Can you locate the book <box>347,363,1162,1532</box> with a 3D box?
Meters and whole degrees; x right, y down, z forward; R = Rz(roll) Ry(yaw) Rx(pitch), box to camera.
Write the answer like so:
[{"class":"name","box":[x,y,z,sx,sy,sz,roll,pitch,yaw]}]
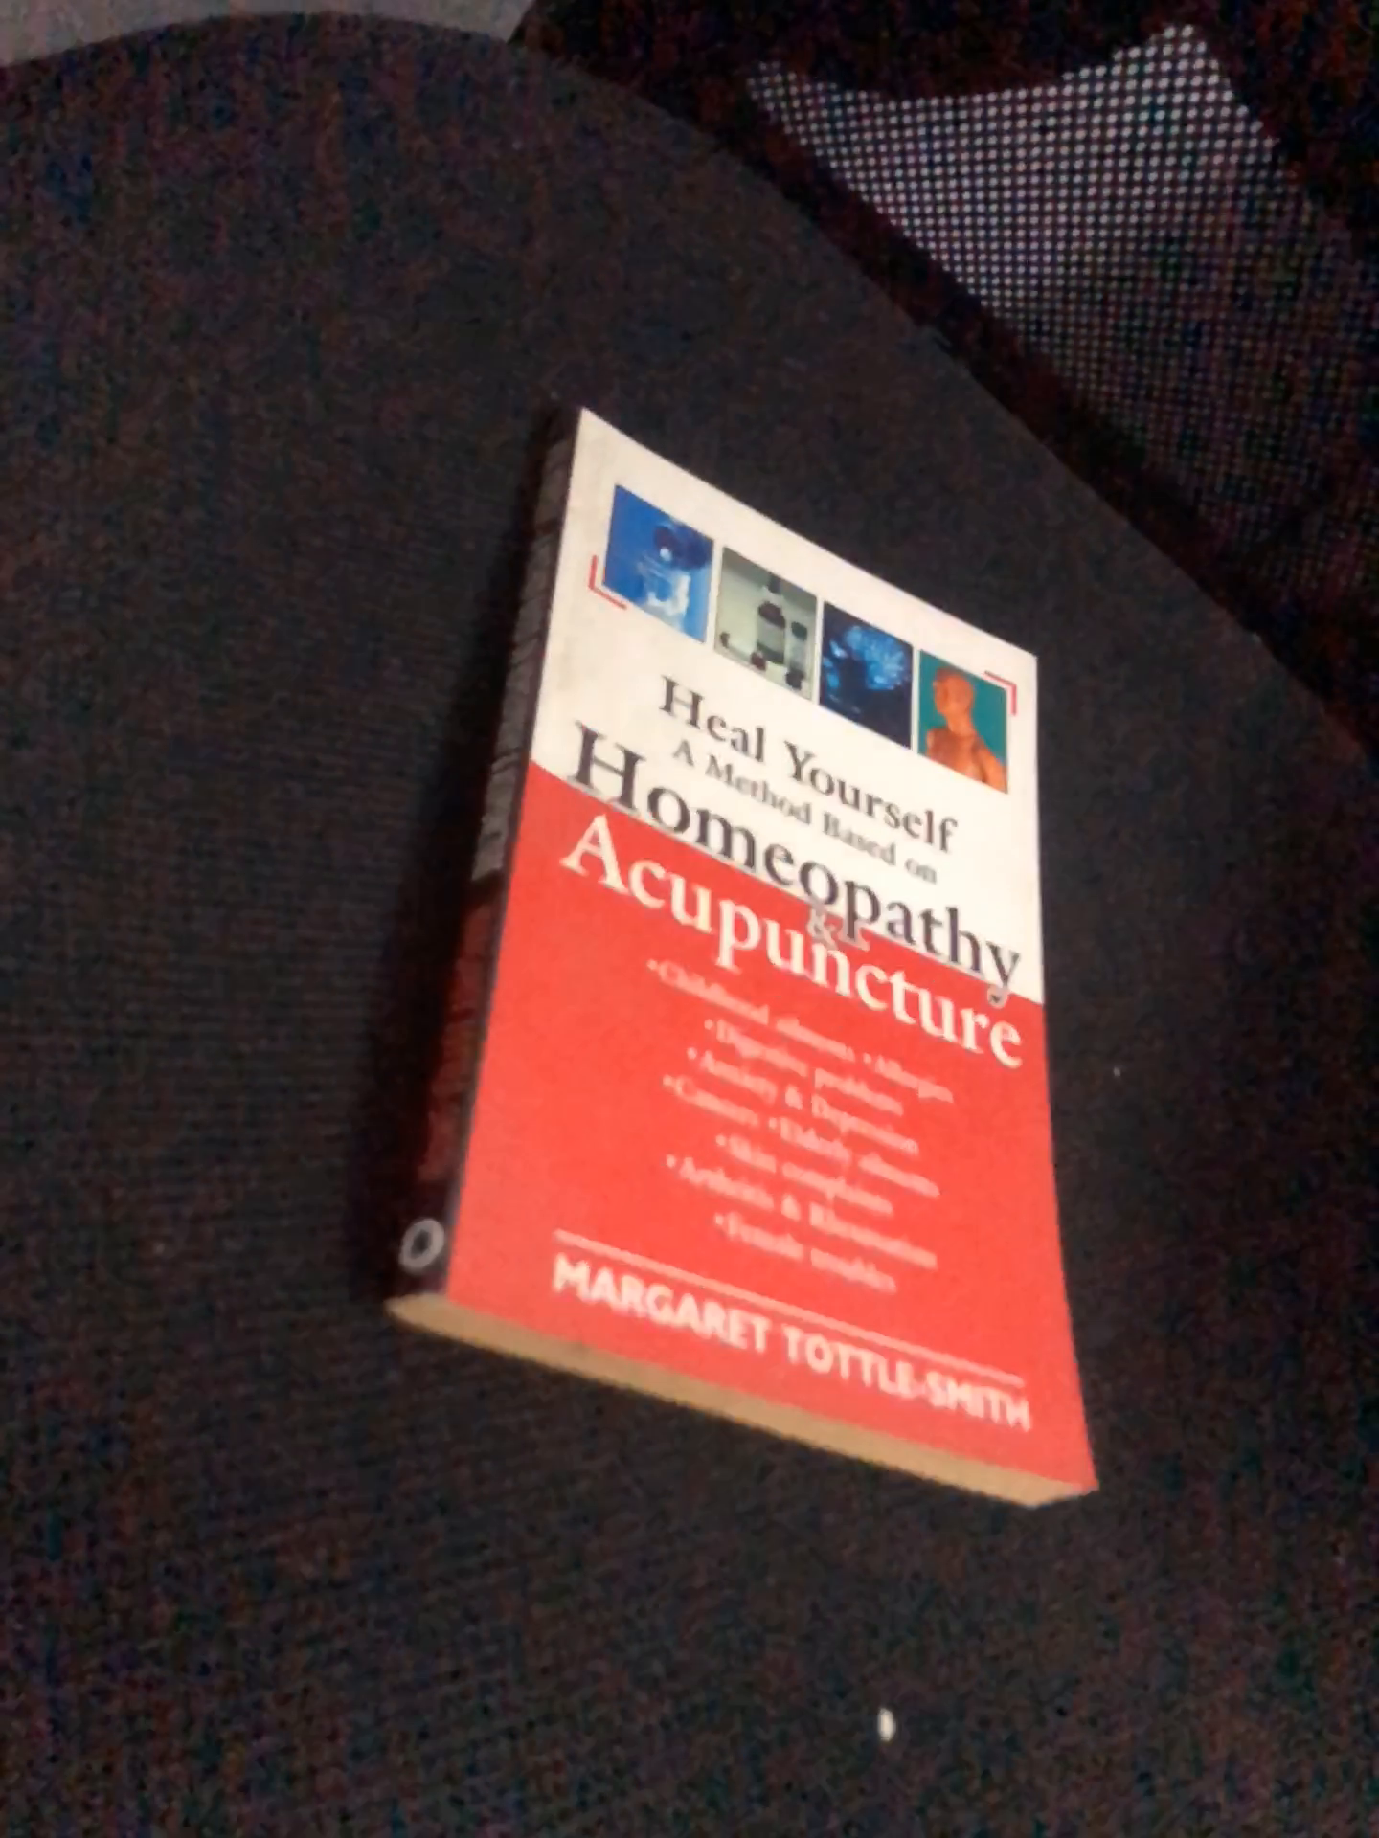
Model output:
[{"class":"book","box":[0.025,-0.004,0.314,0.151,0.020,0.221,24,50,-24]}]
